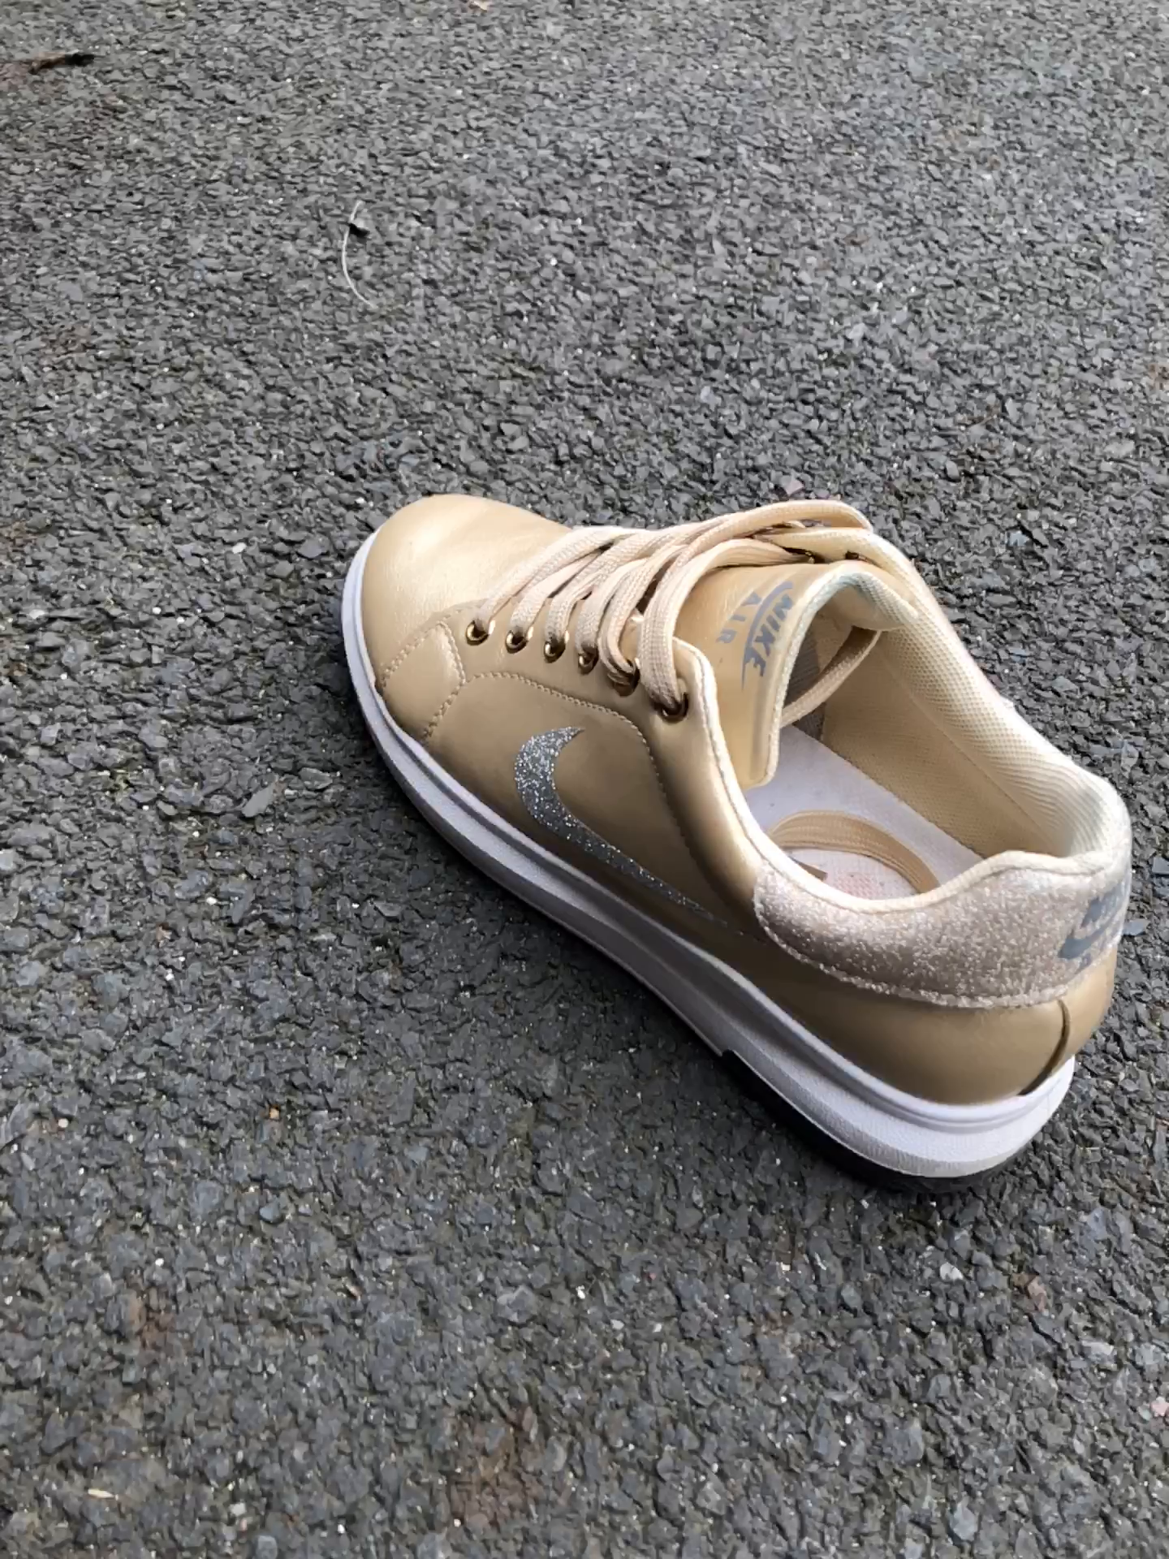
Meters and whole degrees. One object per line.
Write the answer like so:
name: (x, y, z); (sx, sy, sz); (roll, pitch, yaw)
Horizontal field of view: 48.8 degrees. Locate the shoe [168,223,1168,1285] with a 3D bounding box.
shoe: (0.027, -0.023, 0.334); (0.260, 0.100, 0.117); (40, 59, 23)
